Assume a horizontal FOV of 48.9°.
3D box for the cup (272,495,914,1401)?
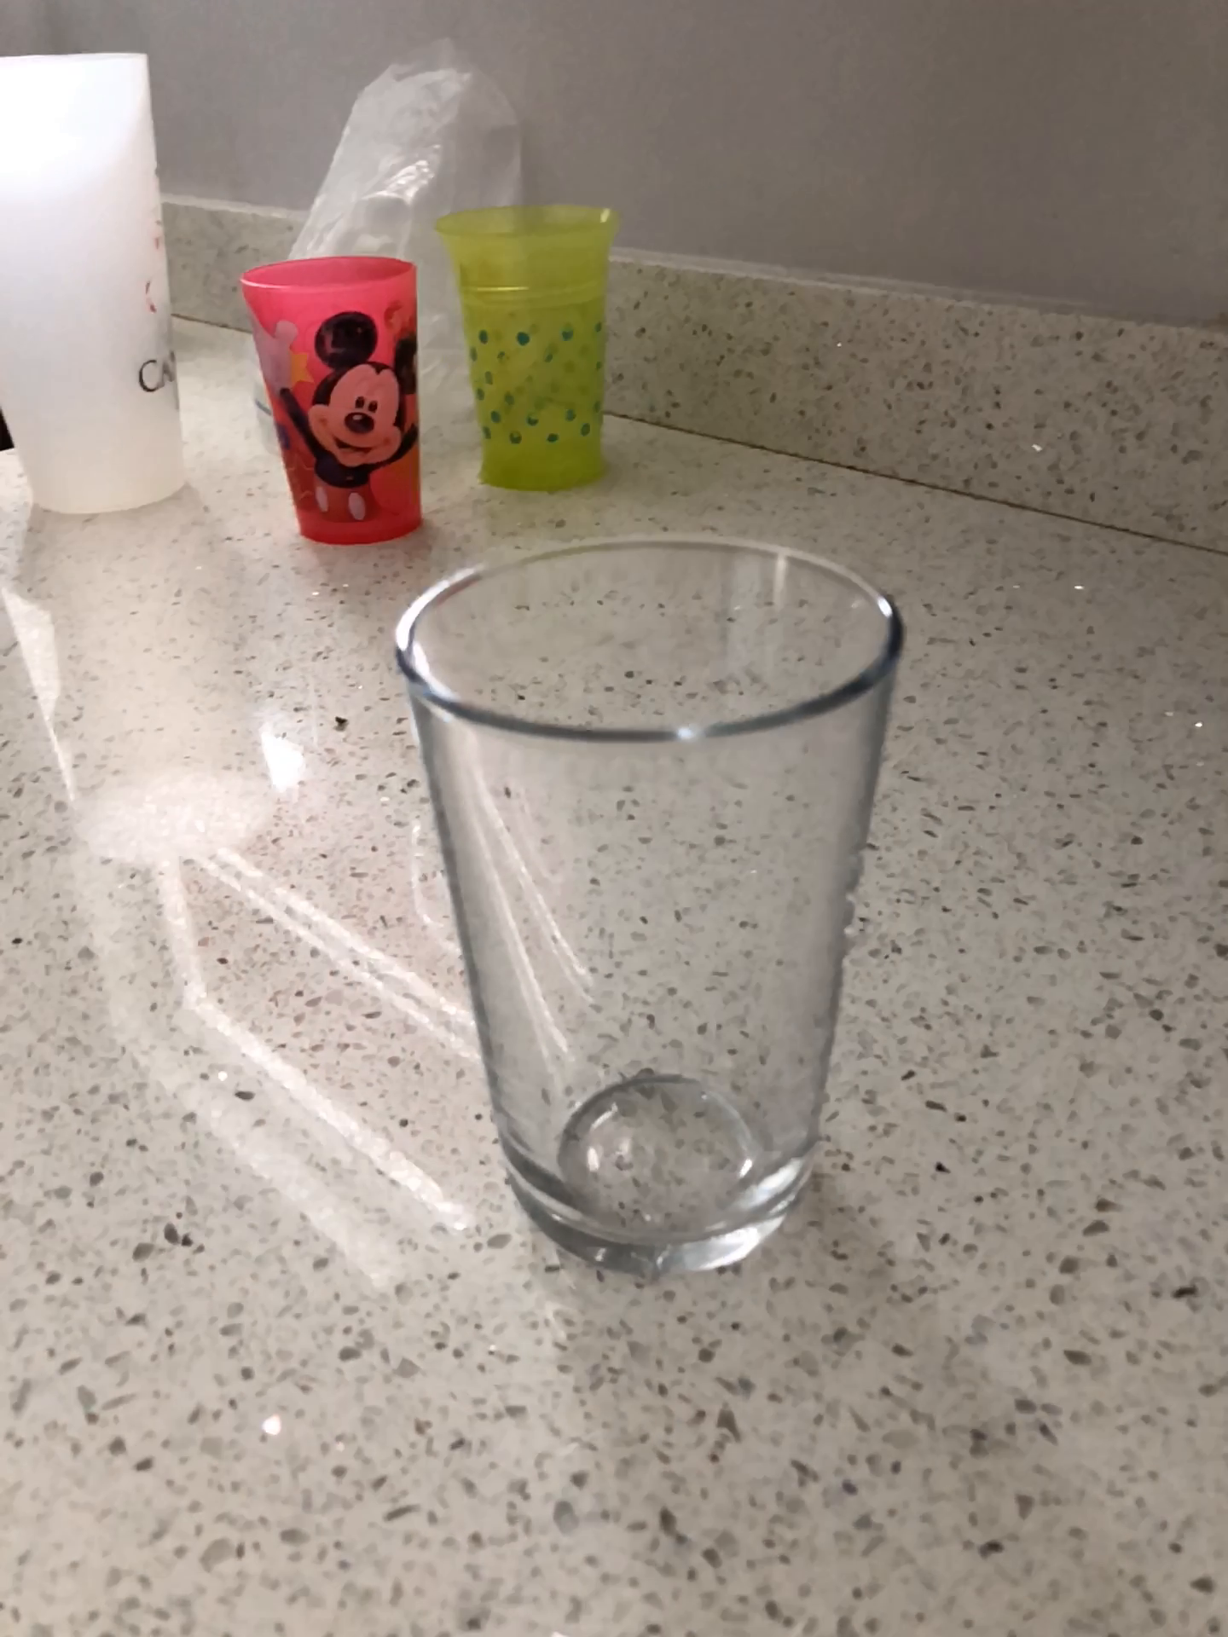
[{"bbox_3d":[0.005,0.017,0.218,0.074,0.114,0.080,-2,31,1],"label":"cup"}]
